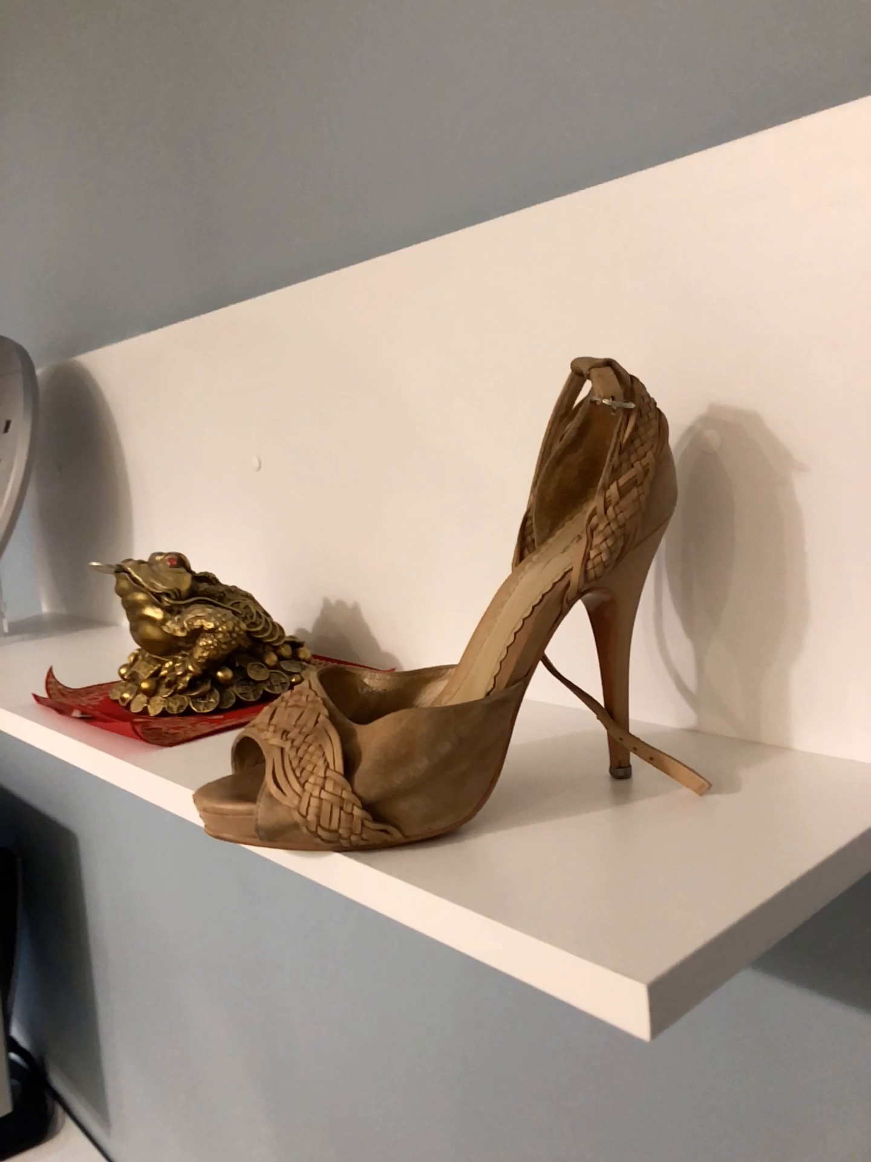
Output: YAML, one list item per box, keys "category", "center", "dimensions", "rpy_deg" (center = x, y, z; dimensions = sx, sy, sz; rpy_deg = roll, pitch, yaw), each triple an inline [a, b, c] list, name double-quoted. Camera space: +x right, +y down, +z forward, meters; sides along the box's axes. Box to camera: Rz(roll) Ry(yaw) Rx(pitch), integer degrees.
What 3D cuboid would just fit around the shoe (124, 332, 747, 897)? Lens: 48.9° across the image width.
- category: "shoe"
  center: [0.000, 0.004, 0.385]
  dimensions: [0.210, 0.180, 0.100]
  rpy_deg: [-5, 6, -10]
